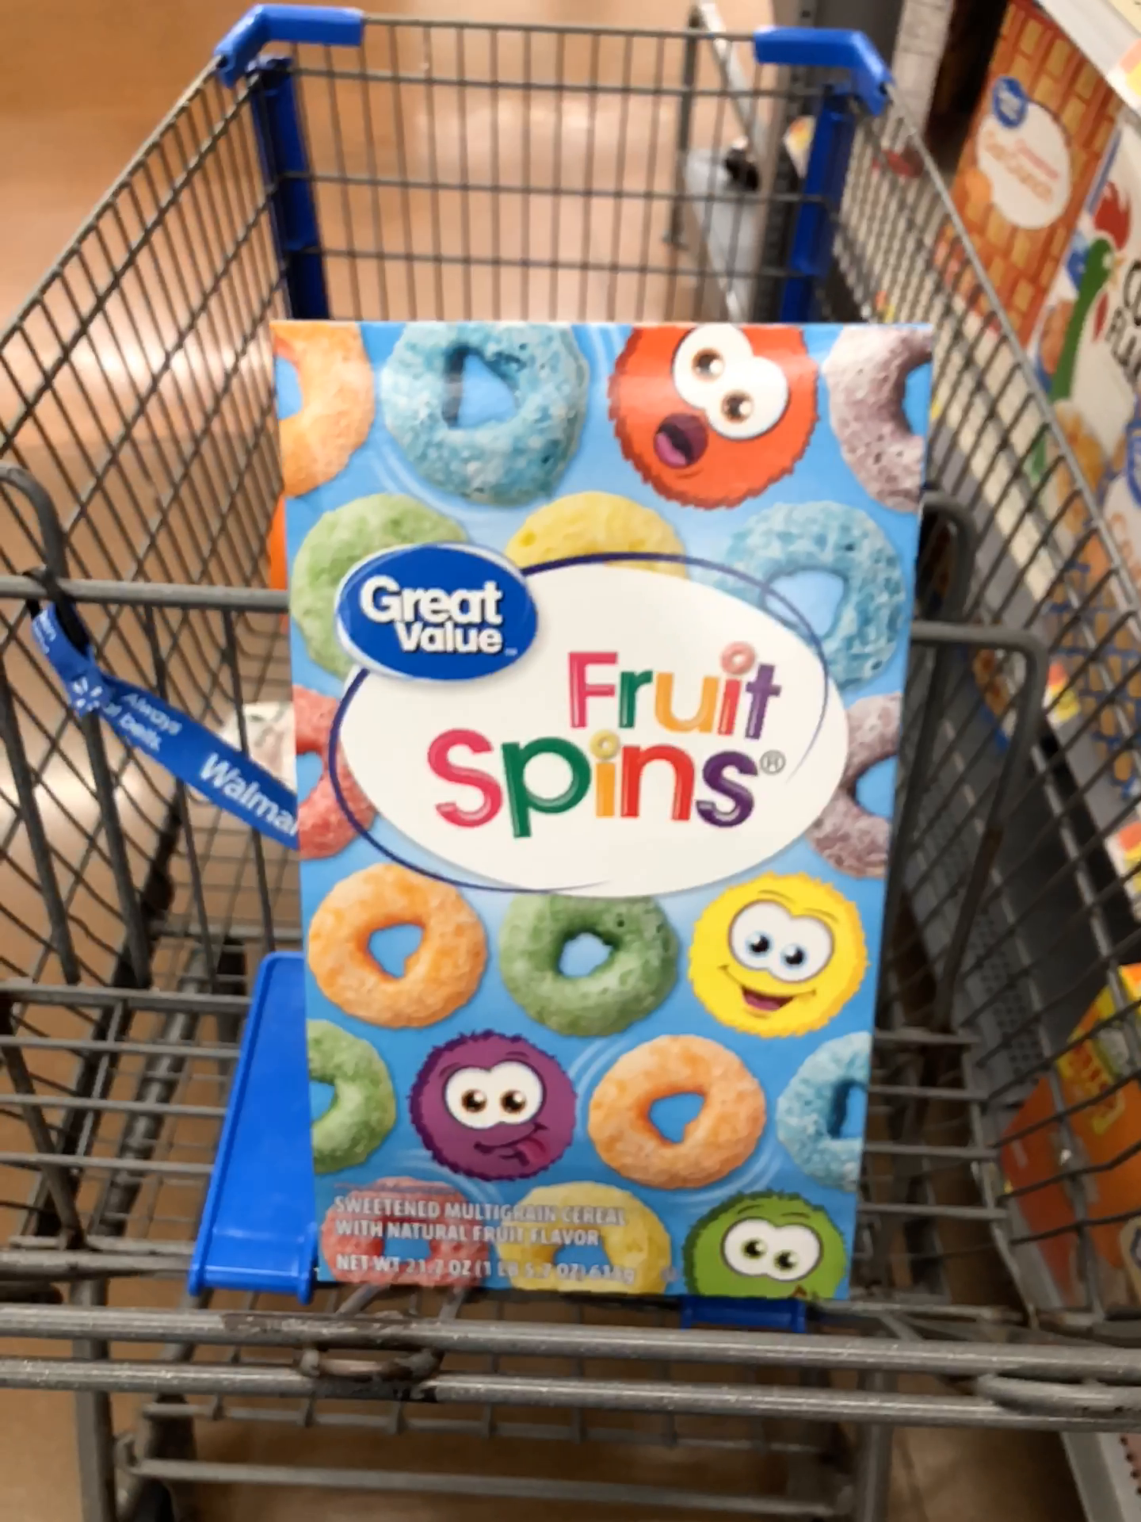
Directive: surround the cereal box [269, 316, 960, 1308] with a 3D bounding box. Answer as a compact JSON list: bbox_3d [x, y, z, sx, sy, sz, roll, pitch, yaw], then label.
[{"bbox_3d":[0.009,0.022,0.461,0.200,0.340,0.090,2,17,1],"label":"cereal box"}]
